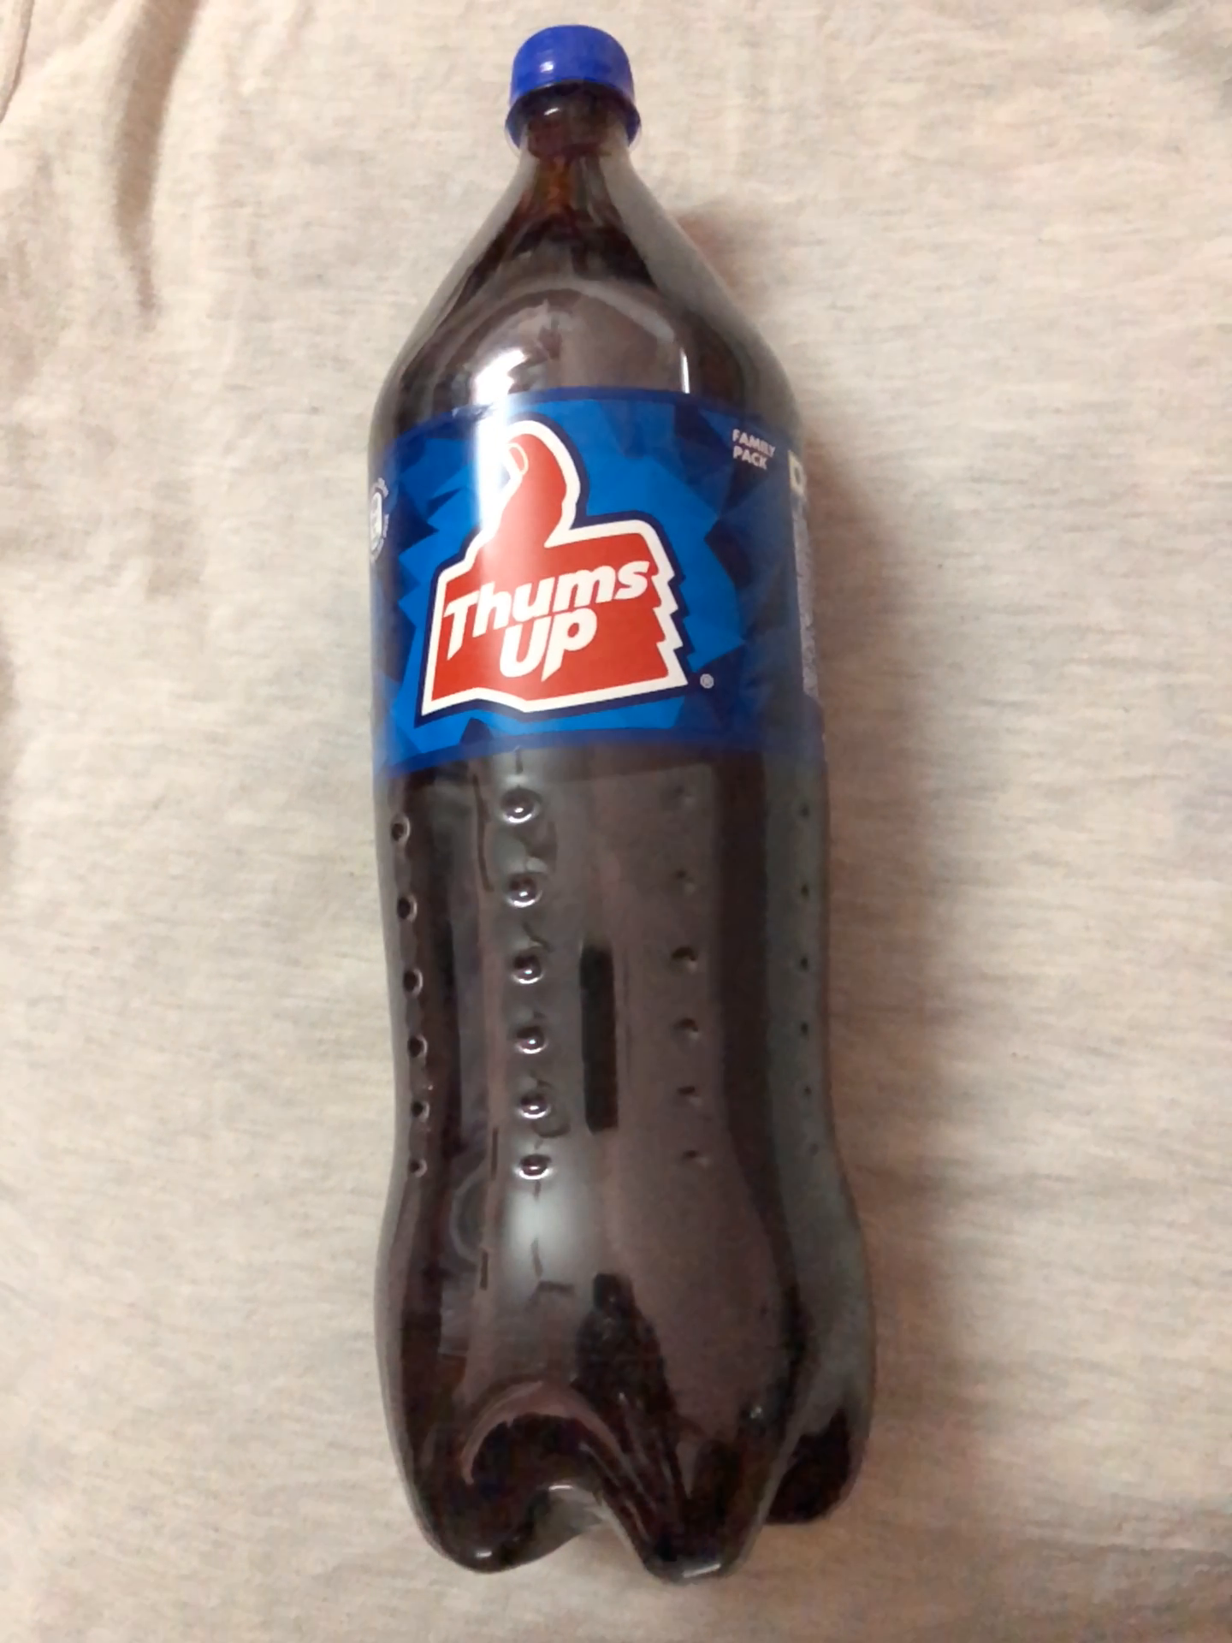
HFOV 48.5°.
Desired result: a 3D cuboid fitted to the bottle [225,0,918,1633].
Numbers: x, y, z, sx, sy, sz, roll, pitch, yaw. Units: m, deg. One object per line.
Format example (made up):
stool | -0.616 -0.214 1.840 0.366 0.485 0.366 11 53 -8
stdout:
bottle | -0.010 -0.027 0.254 0.100 0.060 0.300 -6 80 14
